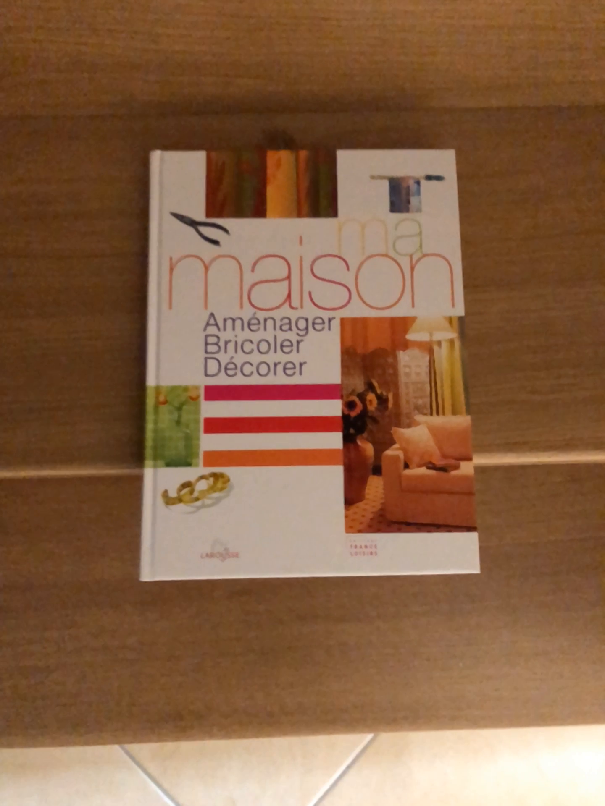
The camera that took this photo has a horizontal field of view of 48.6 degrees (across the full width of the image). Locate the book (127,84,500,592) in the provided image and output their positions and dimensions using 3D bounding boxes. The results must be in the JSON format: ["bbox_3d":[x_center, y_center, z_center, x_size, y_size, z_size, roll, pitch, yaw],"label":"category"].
[{"bbox_3d":[0.002,-0.047,0.418,0.210,0.030,0.310,-1,80,-1],"label":"book"}]
